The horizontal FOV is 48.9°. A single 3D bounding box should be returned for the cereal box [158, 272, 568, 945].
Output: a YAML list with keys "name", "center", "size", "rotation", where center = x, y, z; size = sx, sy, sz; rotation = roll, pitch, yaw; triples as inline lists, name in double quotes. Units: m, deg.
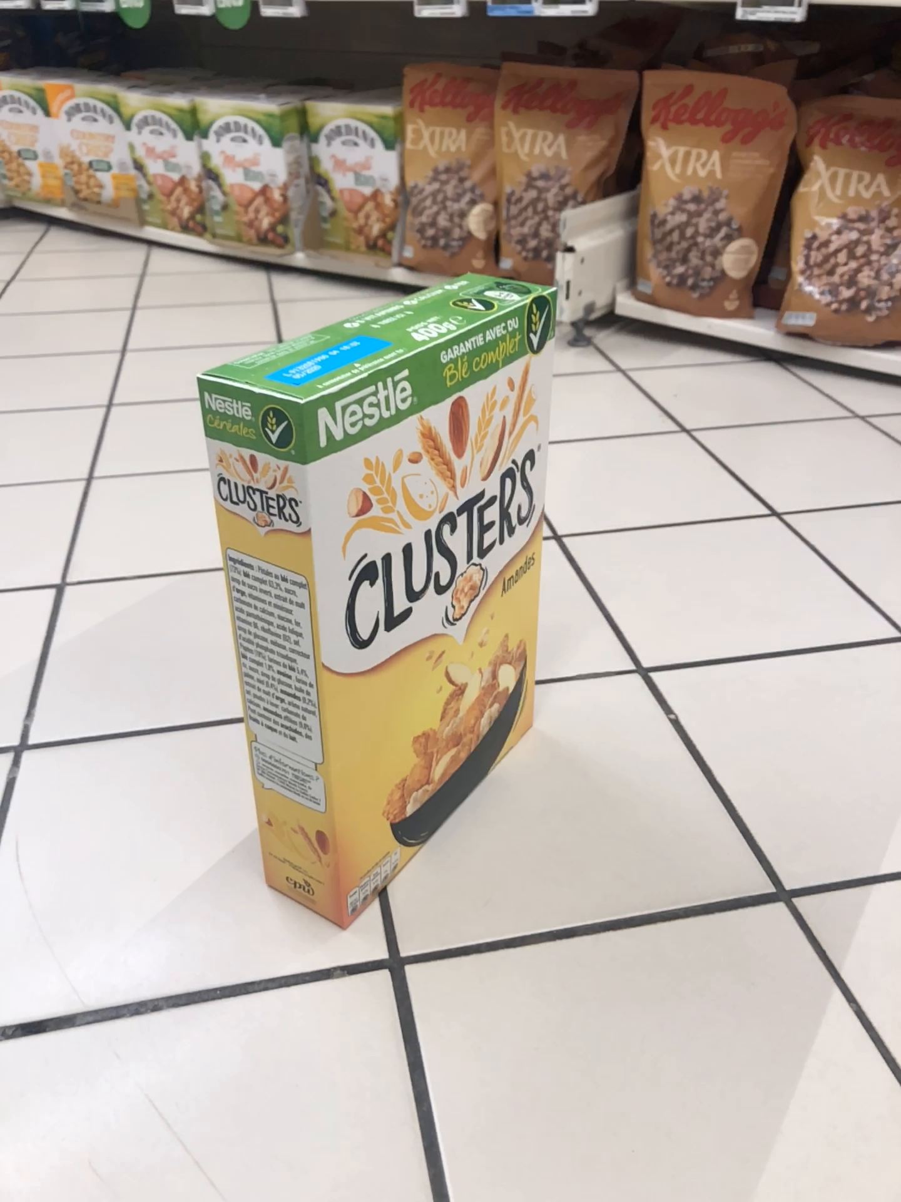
- name: "cereal box"
  center: [-0.026, -0.004, 0.499]
  size: [0.060, 0.268, 0.211]
  rotation: [19, 35, 29]
